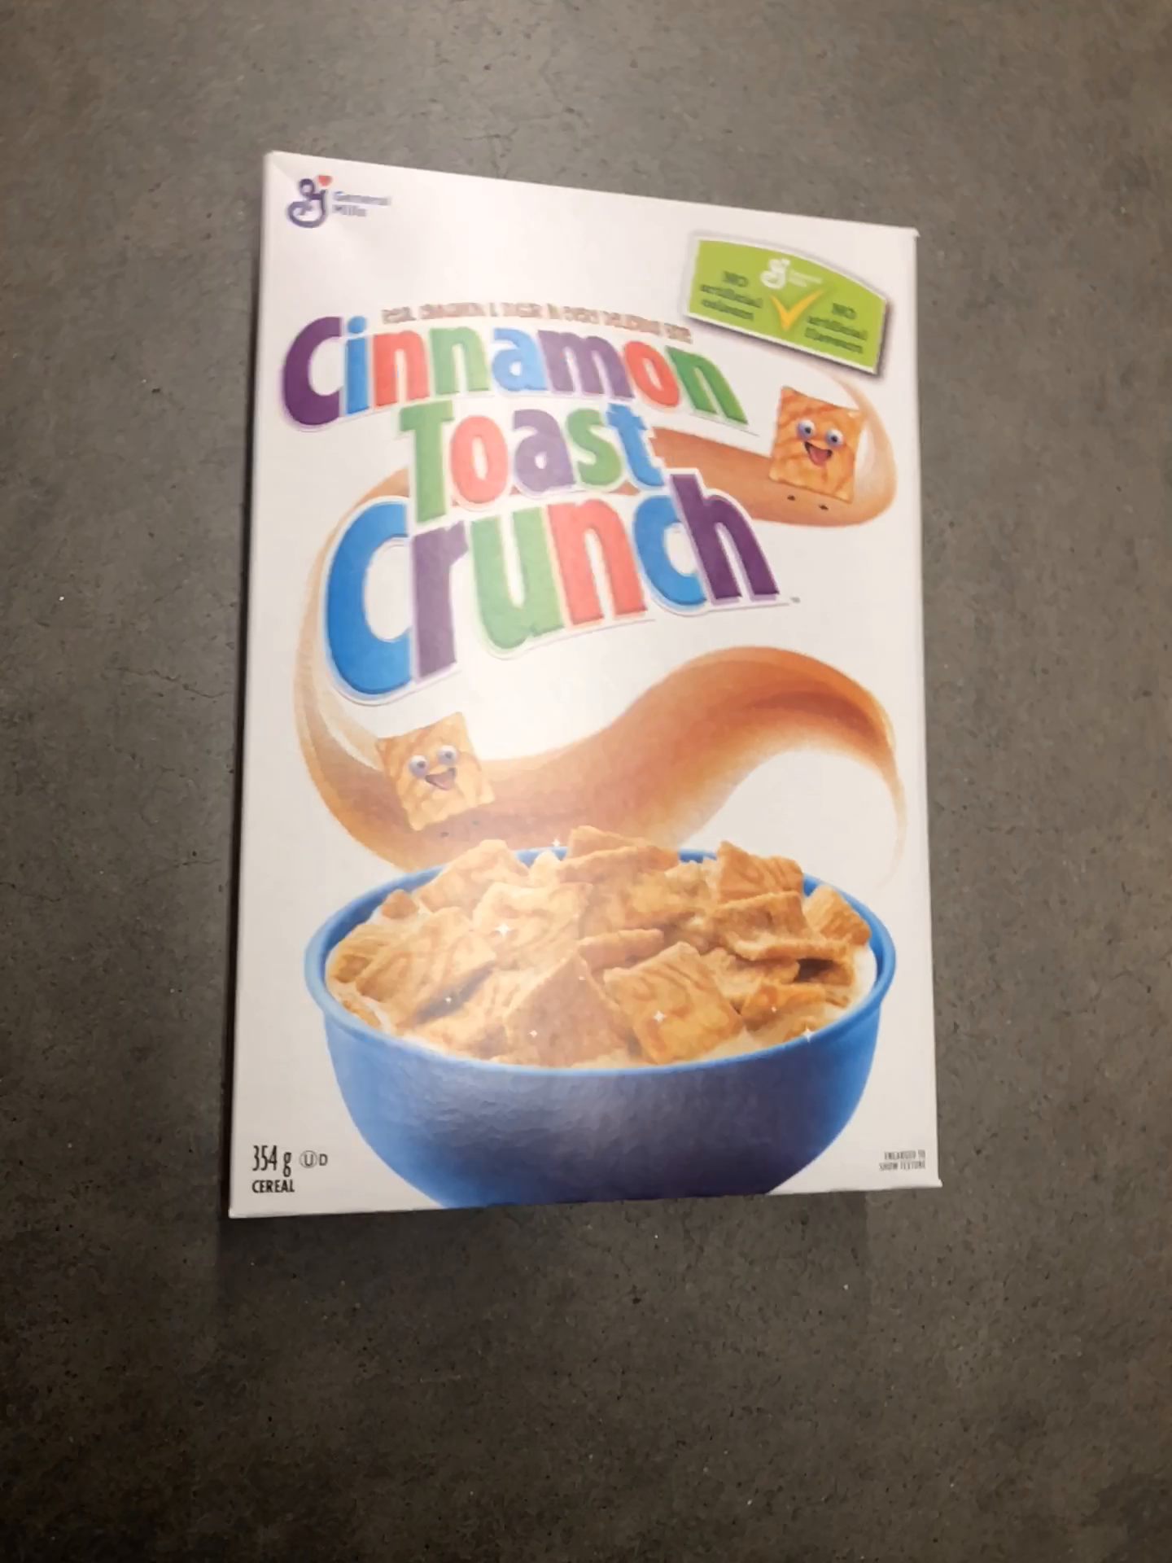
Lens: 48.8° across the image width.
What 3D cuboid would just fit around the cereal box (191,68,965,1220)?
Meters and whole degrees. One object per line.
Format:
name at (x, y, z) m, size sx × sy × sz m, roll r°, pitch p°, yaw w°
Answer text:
cereal box at (-0.002, -0.036, 0.370) m, size 0.200 × 0.060 × 0.290 m, roll 1°, pitch 85°, yaw -11°
